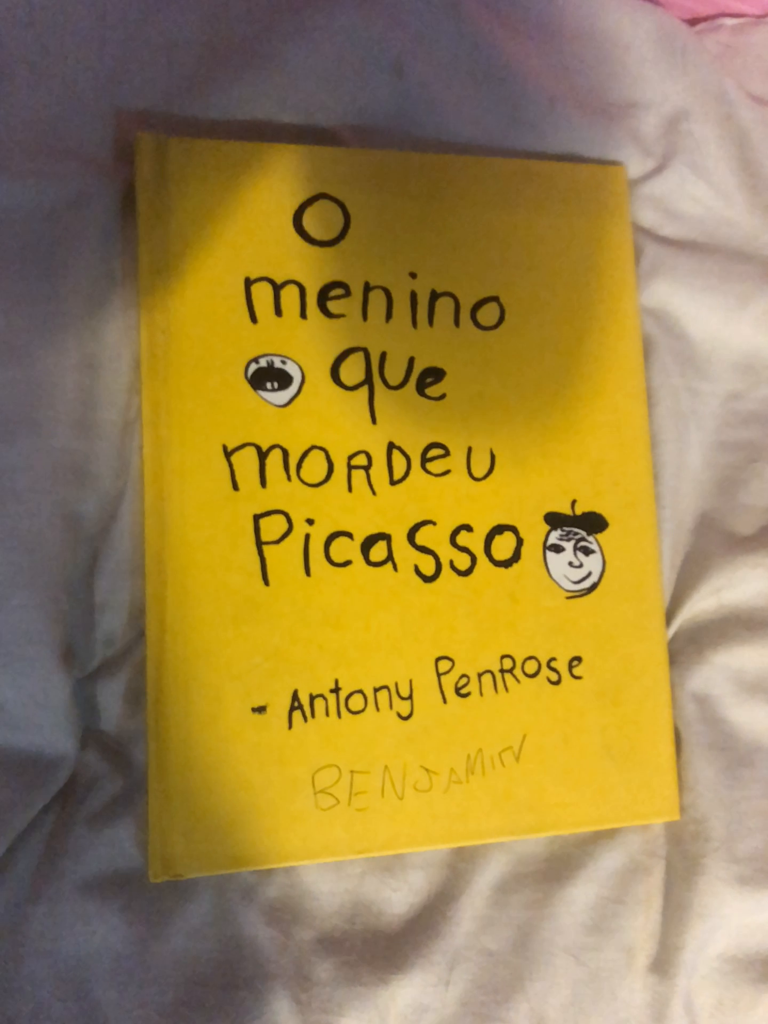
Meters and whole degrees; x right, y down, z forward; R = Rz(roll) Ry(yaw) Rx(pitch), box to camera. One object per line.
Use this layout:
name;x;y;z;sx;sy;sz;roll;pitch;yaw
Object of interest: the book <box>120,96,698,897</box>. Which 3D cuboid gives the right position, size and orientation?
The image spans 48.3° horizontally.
book;0.008;-0.011;0.286;0.180;0.024;0.240;-1;84;-12
